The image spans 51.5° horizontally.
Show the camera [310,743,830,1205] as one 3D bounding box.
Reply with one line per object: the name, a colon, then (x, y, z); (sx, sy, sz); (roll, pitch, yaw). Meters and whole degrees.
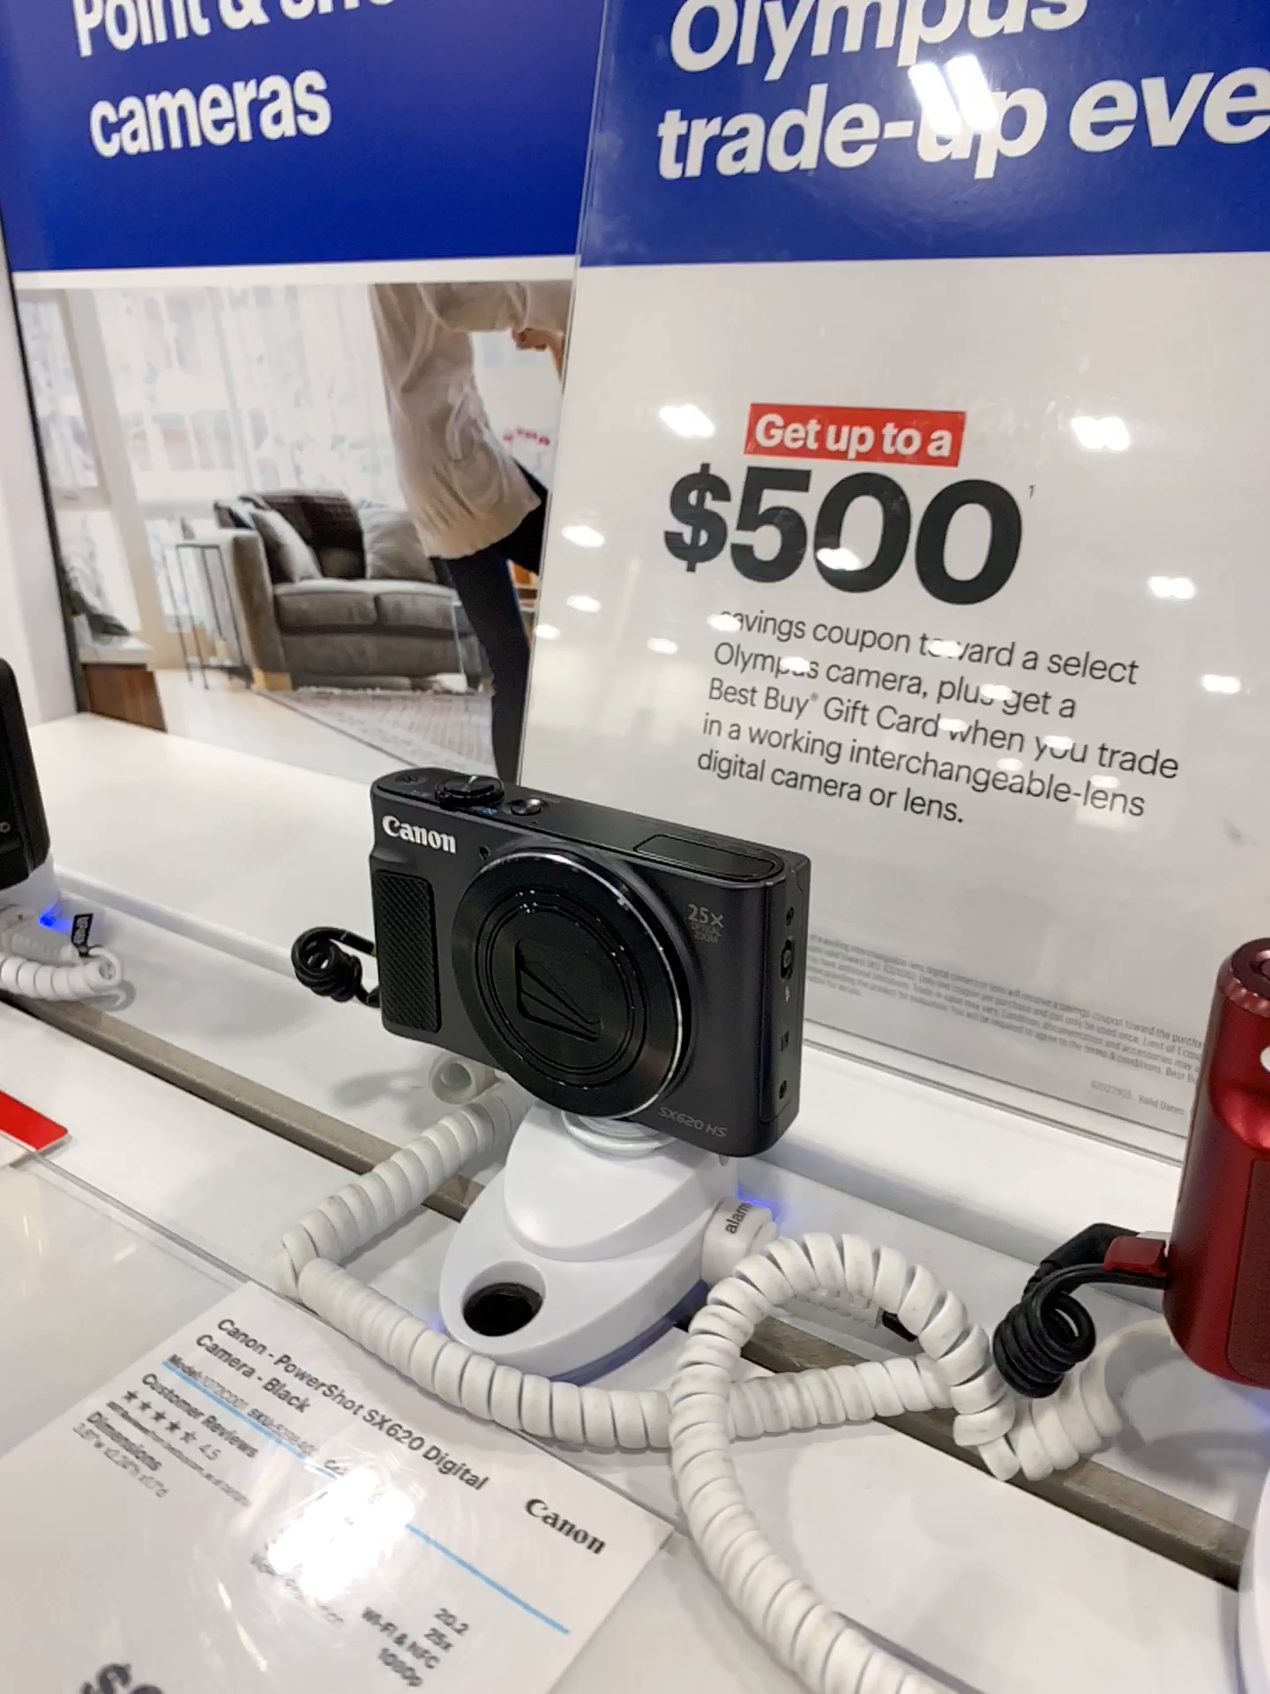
camera: (-0.015, 0.020, 0.259); (0.100, 0.060, 0.030); (14, 26, 32)
